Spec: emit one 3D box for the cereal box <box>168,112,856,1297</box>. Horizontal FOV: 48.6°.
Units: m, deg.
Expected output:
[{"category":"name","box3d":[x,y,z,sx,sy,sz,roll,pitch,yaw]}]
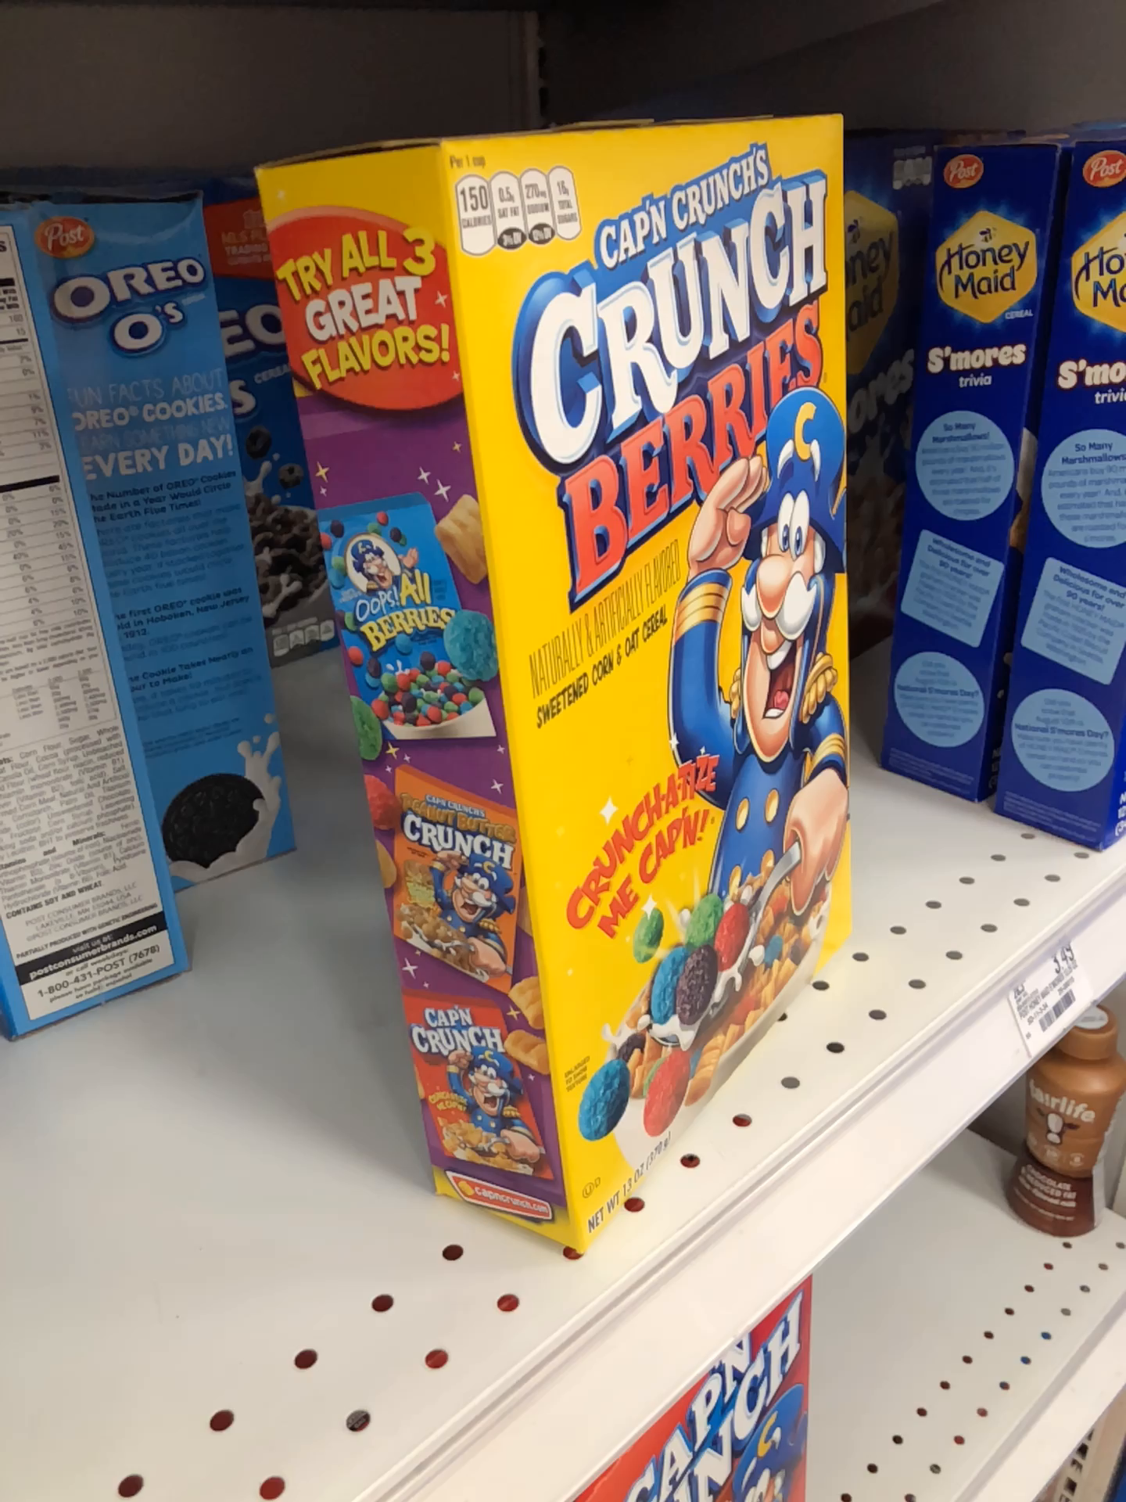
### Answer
[{"category":"cereal box","box3d":[0.015,-0.024,0.376,0.060,0.289,0.200,11,29,35]}]
